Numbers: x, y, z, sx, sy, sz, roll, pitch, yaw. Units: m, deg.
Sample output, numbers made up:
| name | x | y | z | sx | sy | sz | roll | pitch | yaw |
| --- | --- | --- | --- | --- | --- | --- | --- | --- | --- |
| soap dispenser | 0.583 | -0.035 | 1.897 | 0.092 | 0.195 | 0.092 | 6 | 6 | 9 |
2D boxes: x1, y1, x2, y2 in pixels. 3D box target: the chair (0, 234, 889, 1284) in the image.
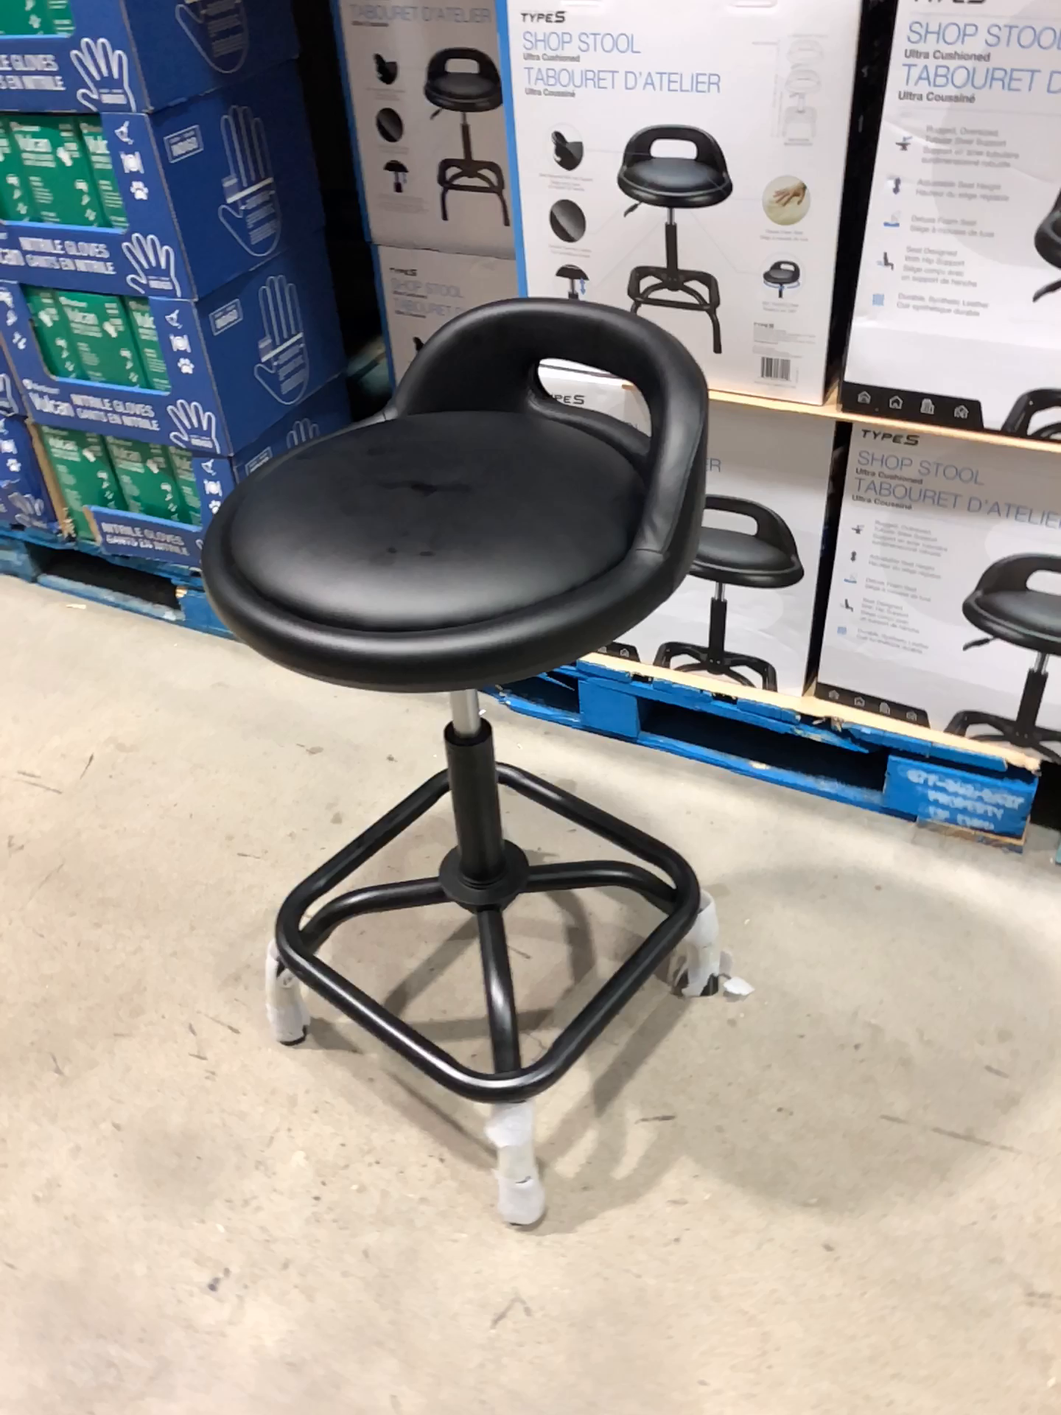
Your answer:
| name | x | y | z | sx | sy | sz | roll | pitch | yaw |
| --- | --- | --- | --- | --- | --- | --- | --- | --- | --- |
| chair | -0.042 | 0.032 | 1.137 | 0.481 | 0.747 | 0.511 | 26 | 47 | 32 |
